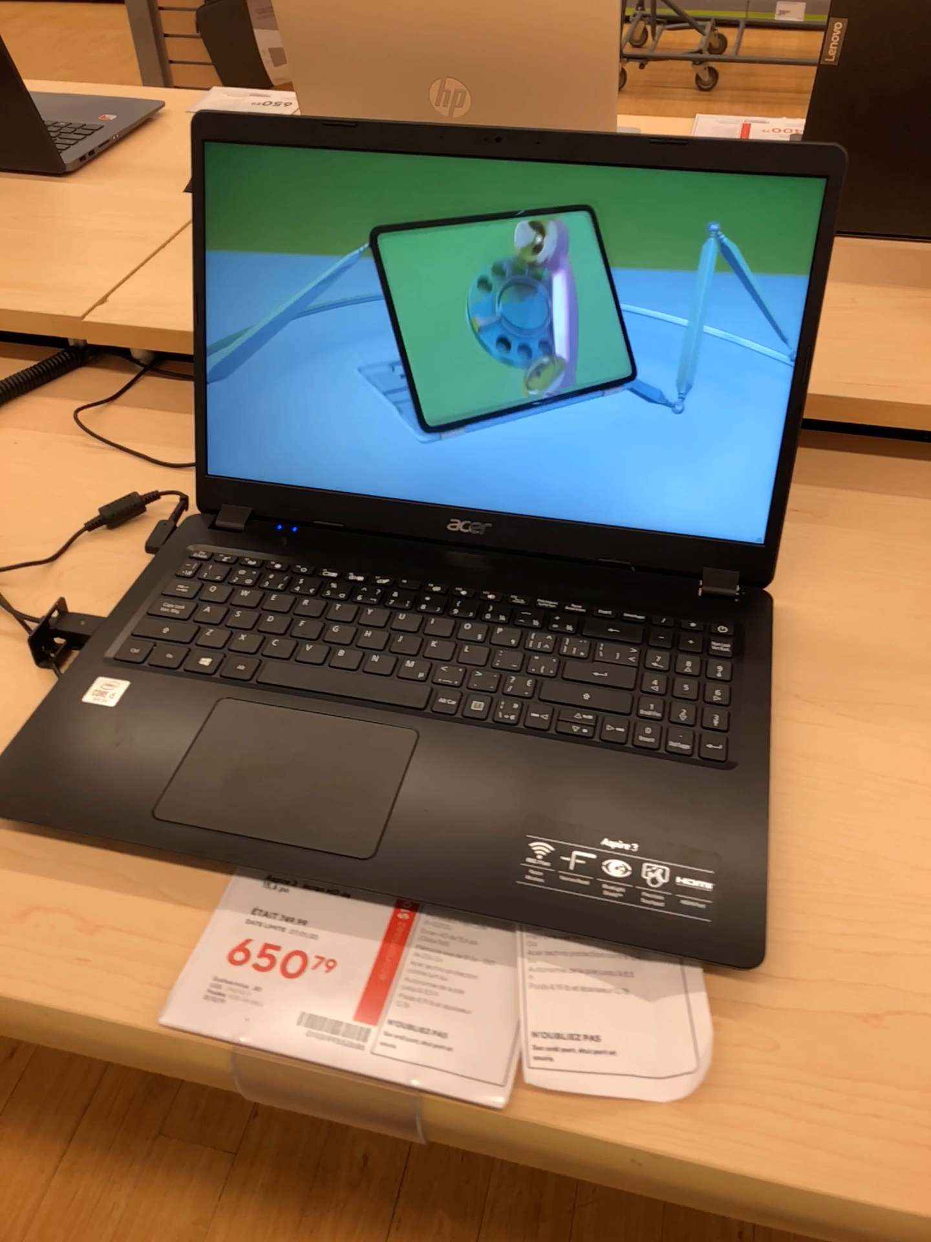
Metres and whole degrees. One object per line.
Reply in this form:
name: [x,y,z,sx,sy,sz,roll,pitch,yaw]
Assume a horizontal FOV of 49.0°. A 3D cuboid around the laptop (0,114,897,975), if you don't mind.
laptop: [-0.020,-0.073,0.490,0.354,0.210,0.329,9,42,11]
